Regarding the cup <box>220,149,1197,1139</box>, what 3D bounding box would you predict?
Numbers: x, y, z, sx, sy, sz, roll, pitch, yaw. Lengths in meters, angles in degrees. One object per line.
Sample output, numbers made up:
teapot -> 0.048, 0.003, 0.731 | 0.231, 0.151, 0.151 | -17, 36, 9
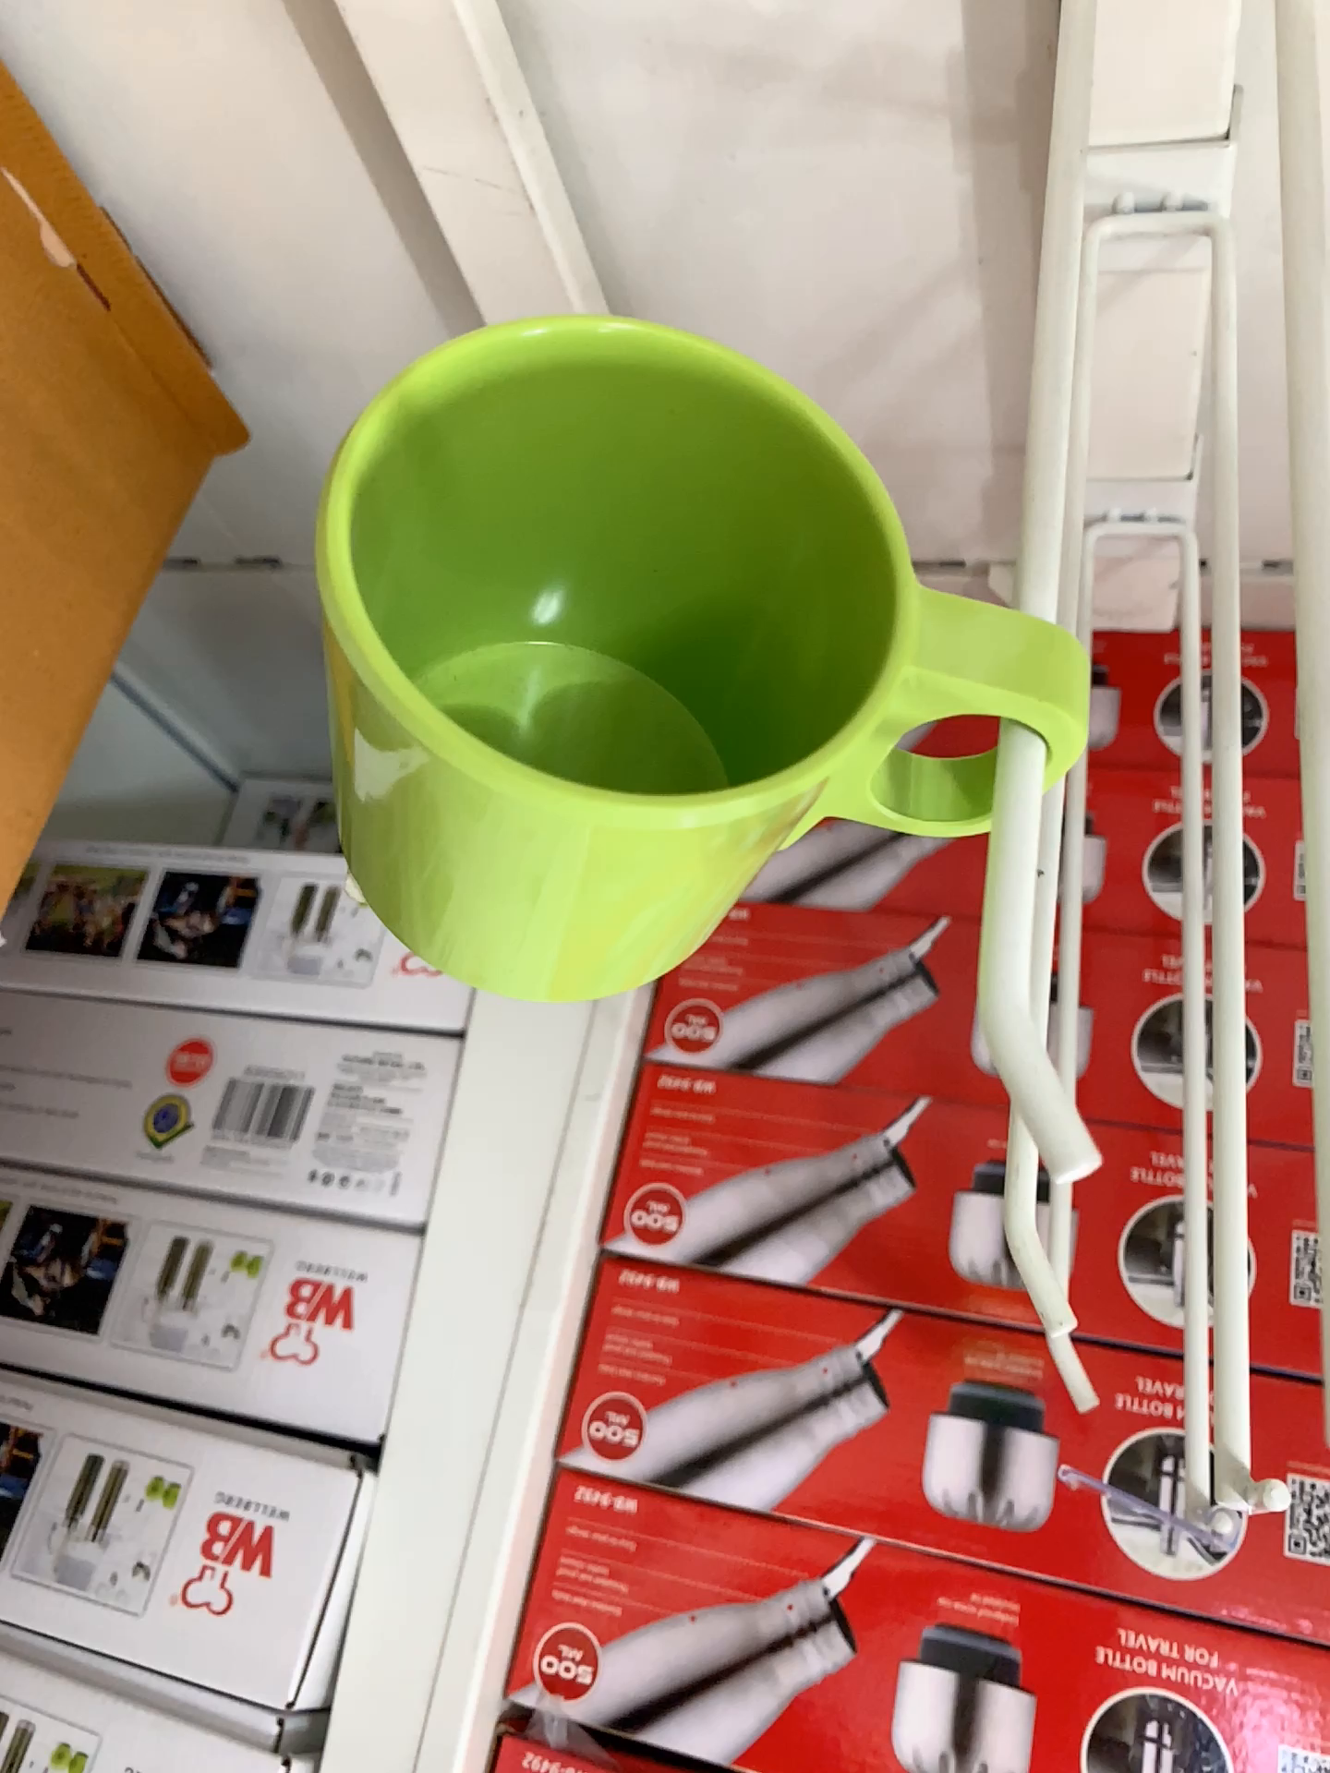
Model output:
cup -> 0.005, -0.027, 0.207 | 0.080, 0.110, 0.100 | 120, -22, -66
